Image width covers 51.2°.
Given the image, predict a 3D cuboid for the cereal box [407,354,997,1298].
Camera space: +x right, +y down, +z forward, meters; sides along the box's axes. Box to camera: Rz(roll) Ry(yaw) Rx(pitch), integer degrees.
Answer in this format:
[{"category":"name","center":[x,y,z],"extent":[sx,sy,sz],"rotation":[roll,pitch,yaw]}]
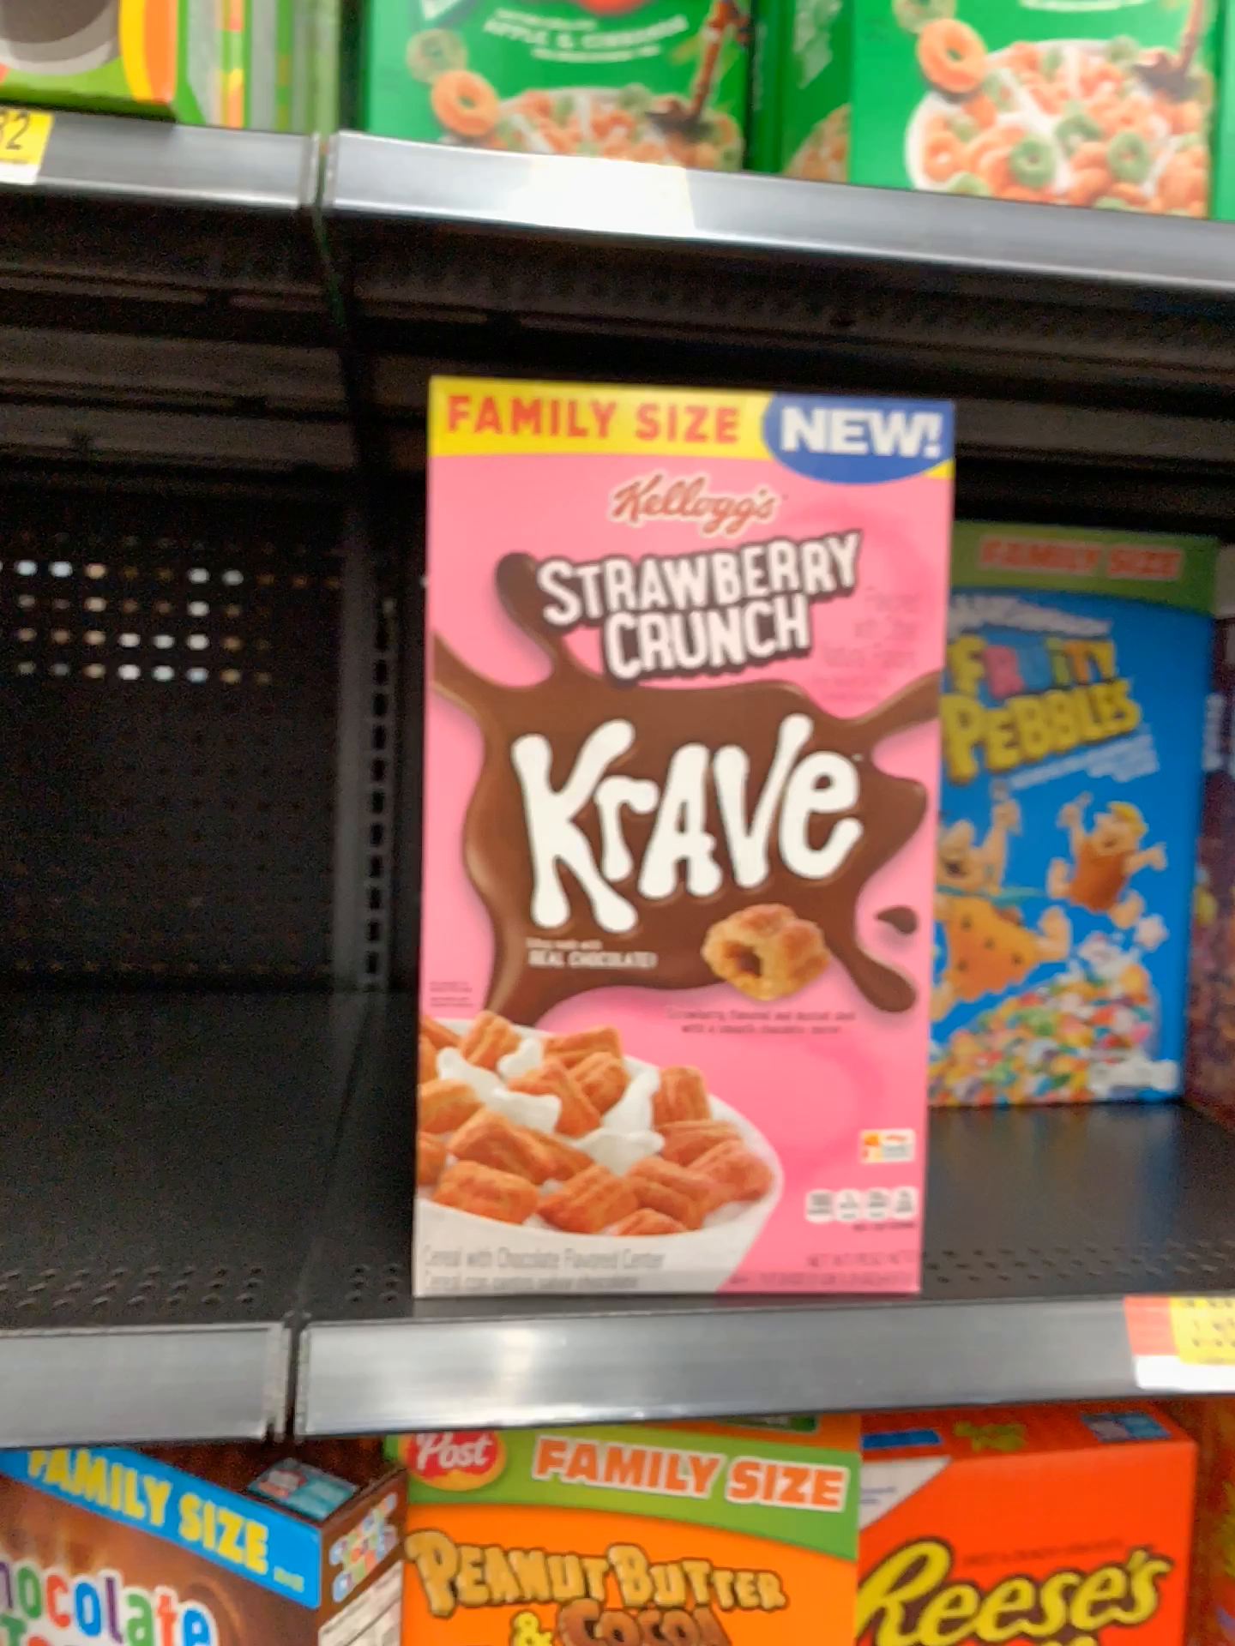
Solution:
[{"category":"cereal box","center":[0.028,0.005,0.489],"extent":[0.200,0.330,0.060],"rotation":[2,2,-5]}]
